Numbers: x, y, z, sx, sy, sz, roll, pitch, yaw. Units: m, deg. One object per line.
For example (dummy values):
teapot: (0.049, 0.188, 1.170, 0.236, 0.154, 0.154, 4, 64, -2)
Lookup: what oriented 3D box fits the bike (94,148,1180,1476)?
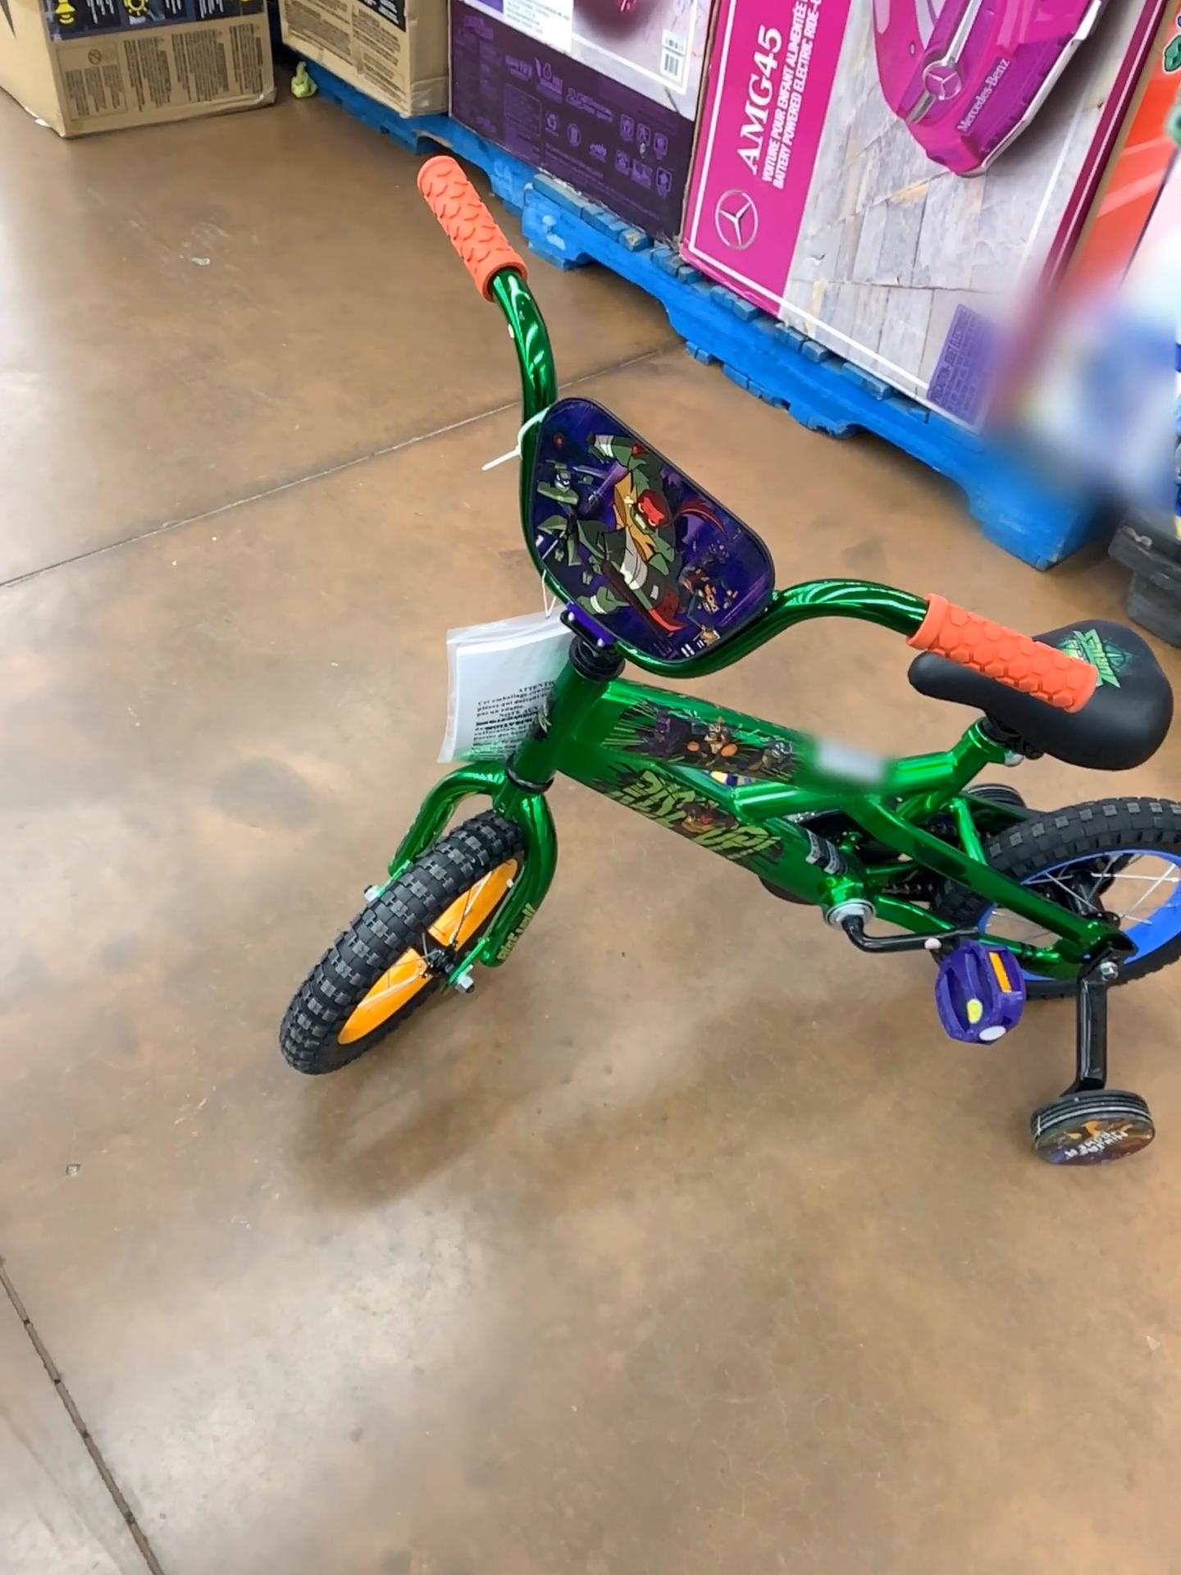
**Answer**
bike: (0.214, 0.027, 0.863, 0.829, 0.677, 0.533, -2, 48, -11)
